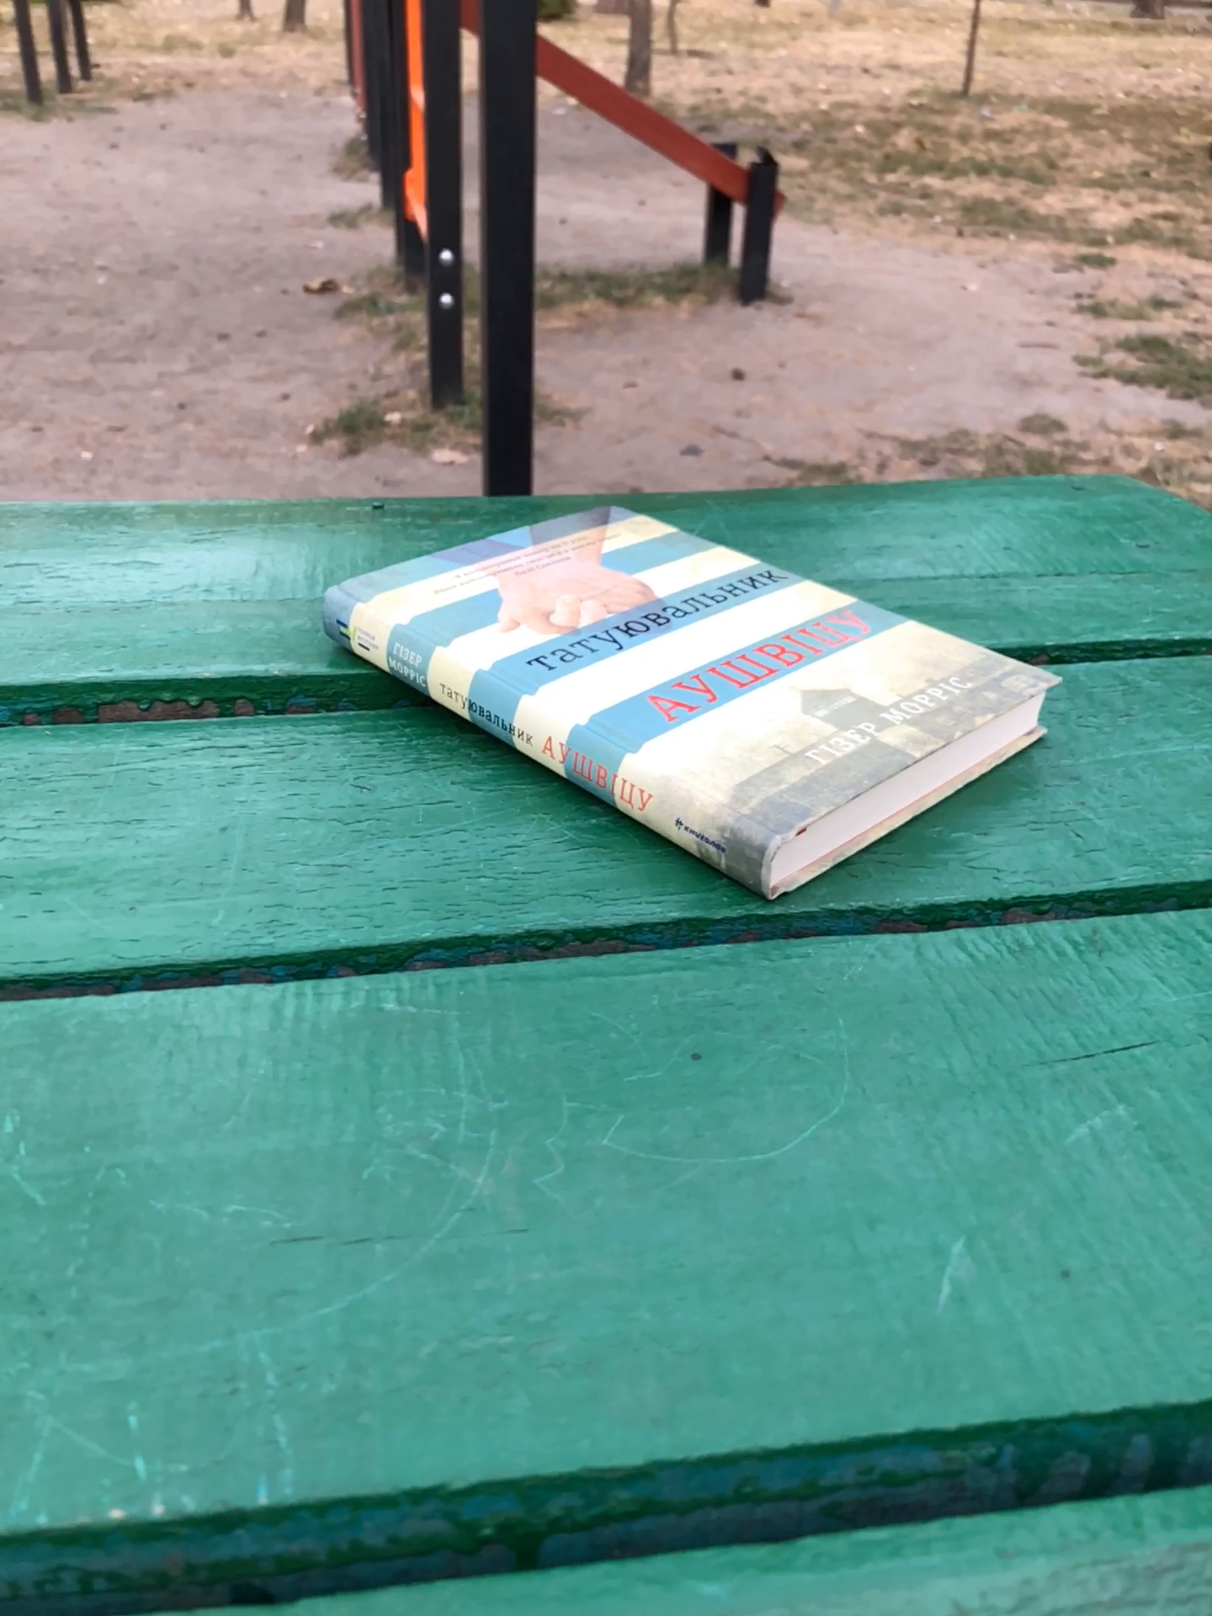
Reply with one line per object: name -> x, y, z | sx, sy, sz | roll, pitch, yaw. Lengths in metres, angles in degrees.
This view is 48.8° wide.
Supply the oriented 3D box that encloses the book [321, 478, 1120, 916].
book -> 0.032, -0.054, 0.447 | 0.152, 0.025, 0.219 | -26, 42, -37
